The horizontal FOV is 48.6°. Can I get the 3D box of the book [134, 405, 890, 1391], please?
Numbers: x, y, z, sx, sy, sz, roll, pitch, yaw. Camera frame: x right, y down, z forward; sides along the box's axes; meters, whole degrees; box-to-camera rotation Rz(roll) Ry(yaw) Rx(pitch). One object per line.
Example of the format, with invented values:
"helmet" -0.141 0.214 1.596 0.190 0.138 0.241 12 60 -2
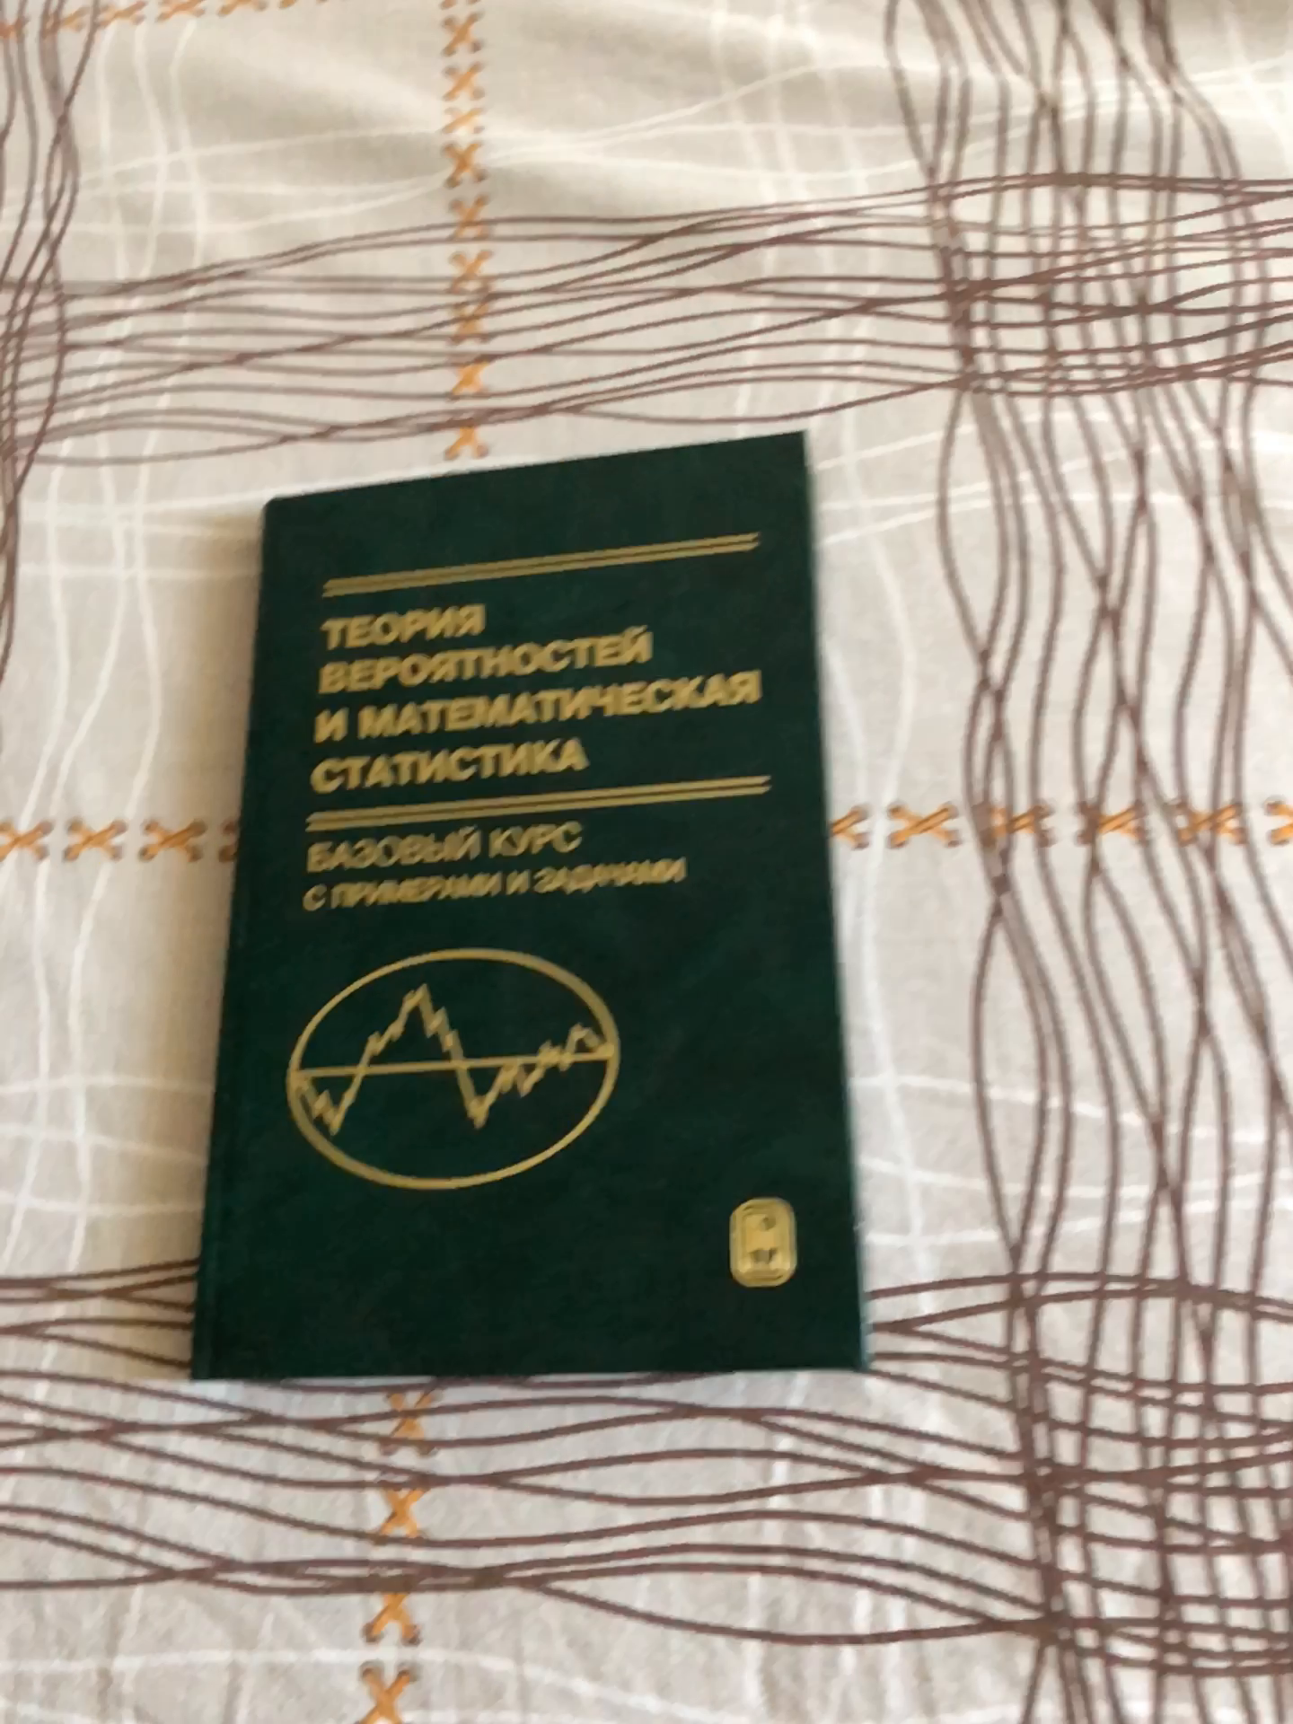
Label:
"book" -0.029 0.004 0.327 0.150 0.030 0.217 -4 70 9
